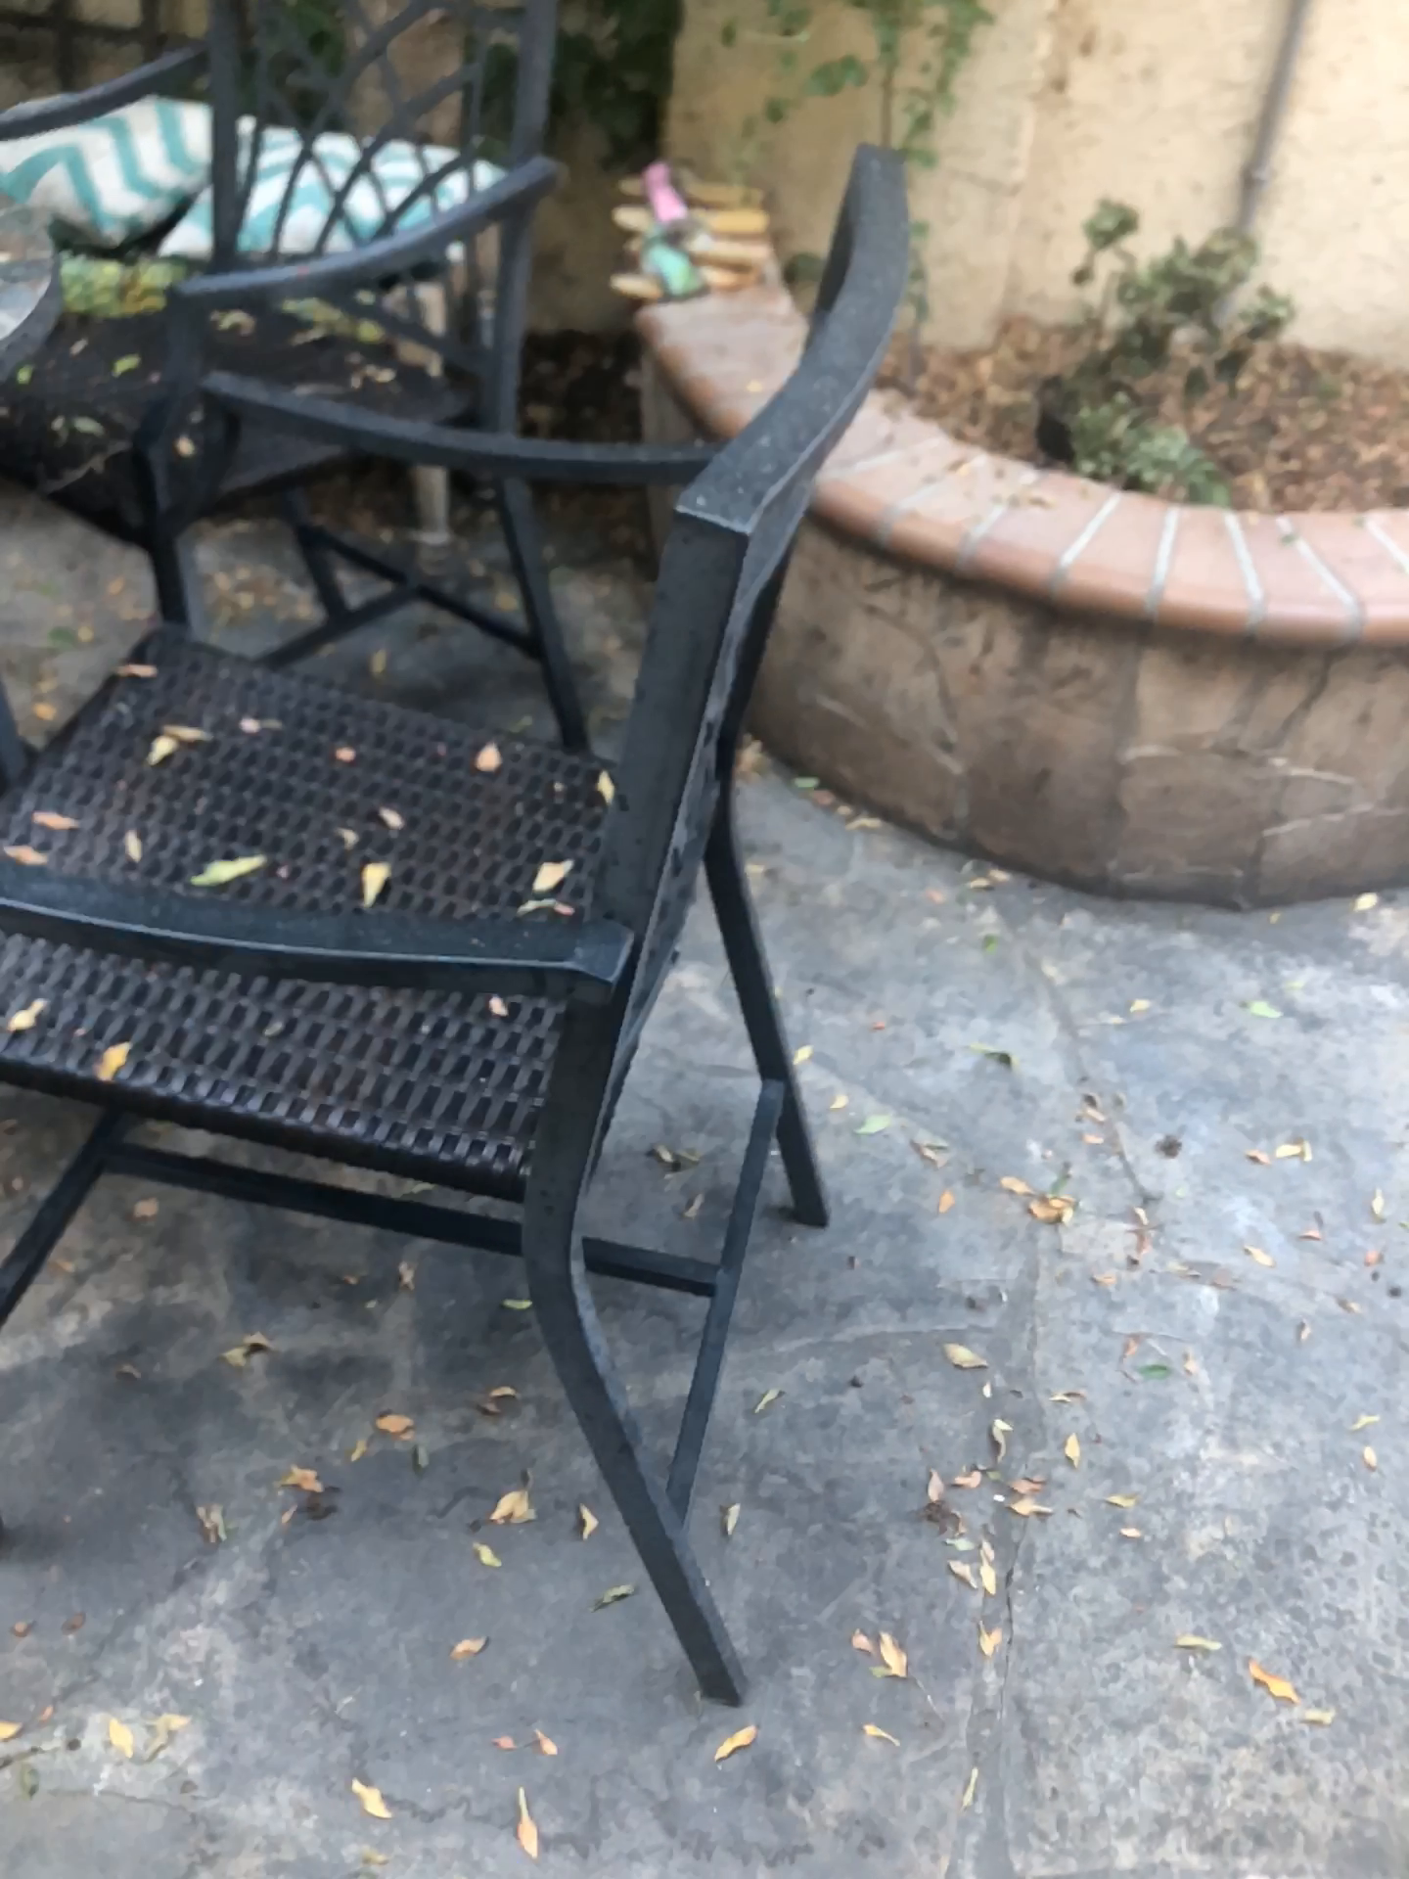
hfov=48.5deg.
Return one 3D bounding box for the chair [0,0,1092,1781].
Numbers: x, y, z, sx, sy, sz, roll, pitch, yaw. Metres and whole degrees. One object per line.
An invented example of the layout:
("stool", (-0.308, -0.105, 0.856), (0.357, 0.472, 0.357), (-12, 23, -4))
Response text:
("chair", (-0.192, -0.031, 1.082), (0.690, 0.912, 0.686), (11, 43, 7))
